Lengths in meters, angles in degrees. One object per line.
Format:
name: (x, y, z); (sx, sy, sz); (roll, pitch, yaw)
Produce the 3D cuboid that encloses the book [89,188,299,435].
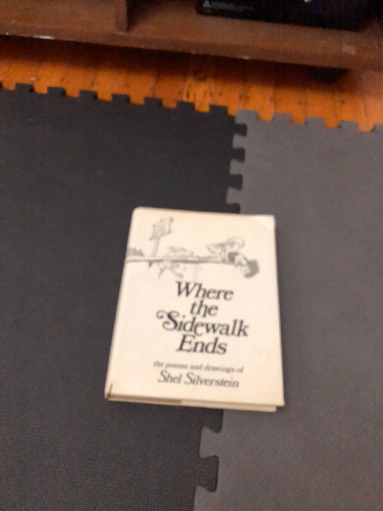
book: (0.012, 0.046, 0.495); (0.200, 0.030, 0.281); (4, 58, 1)
